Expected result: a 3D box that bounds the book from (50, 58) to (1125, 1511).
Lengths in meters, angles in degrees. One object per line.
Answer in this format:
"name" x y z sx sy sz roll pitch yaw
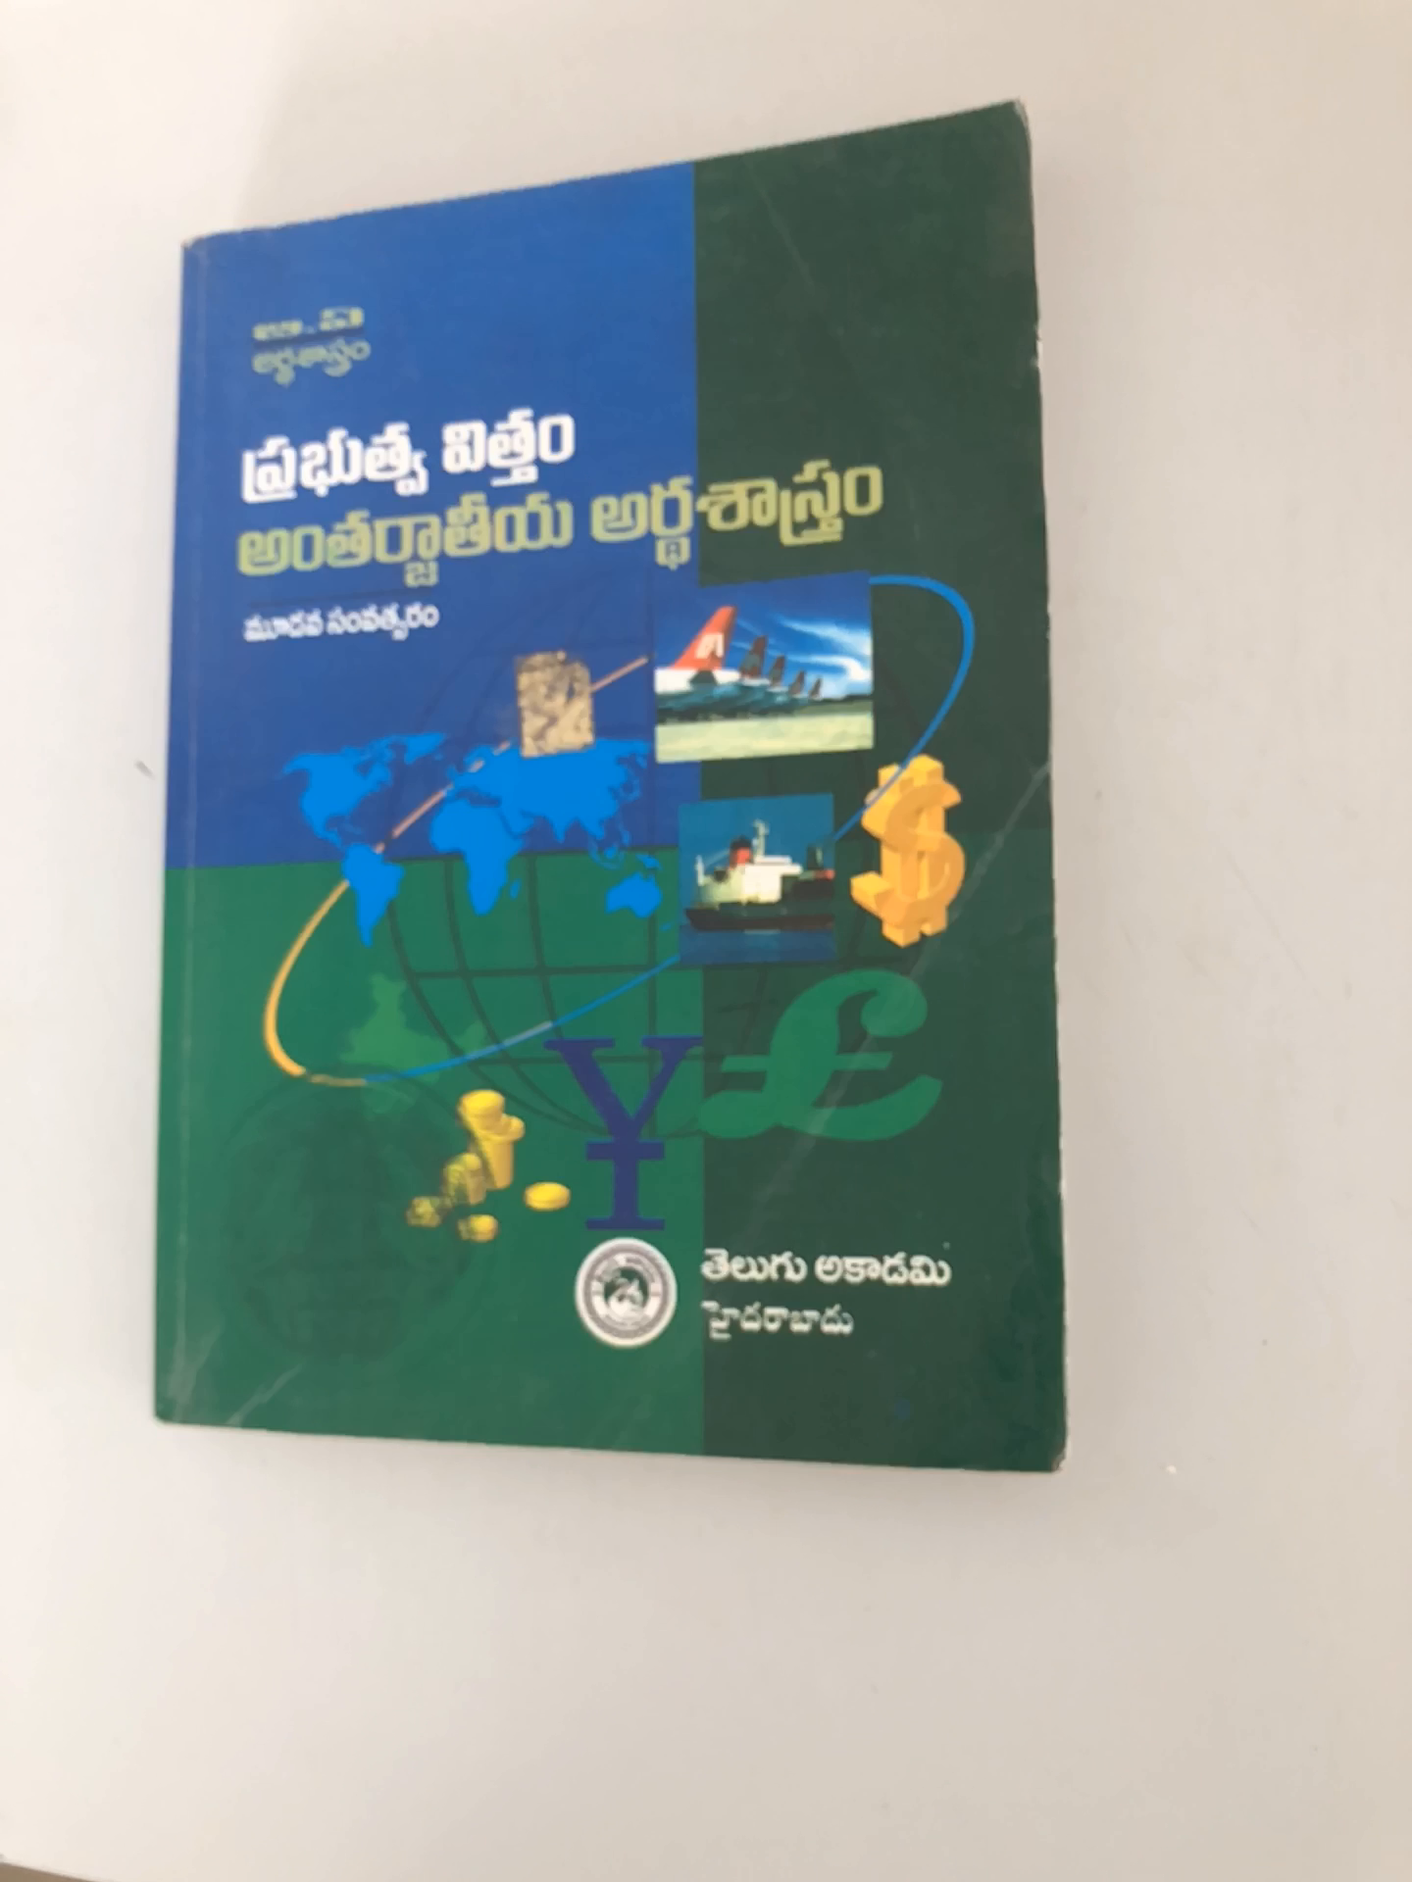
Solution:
"book" -0.022 -0.027 0.304 0.190 0.050 0.240 -2 83 14
